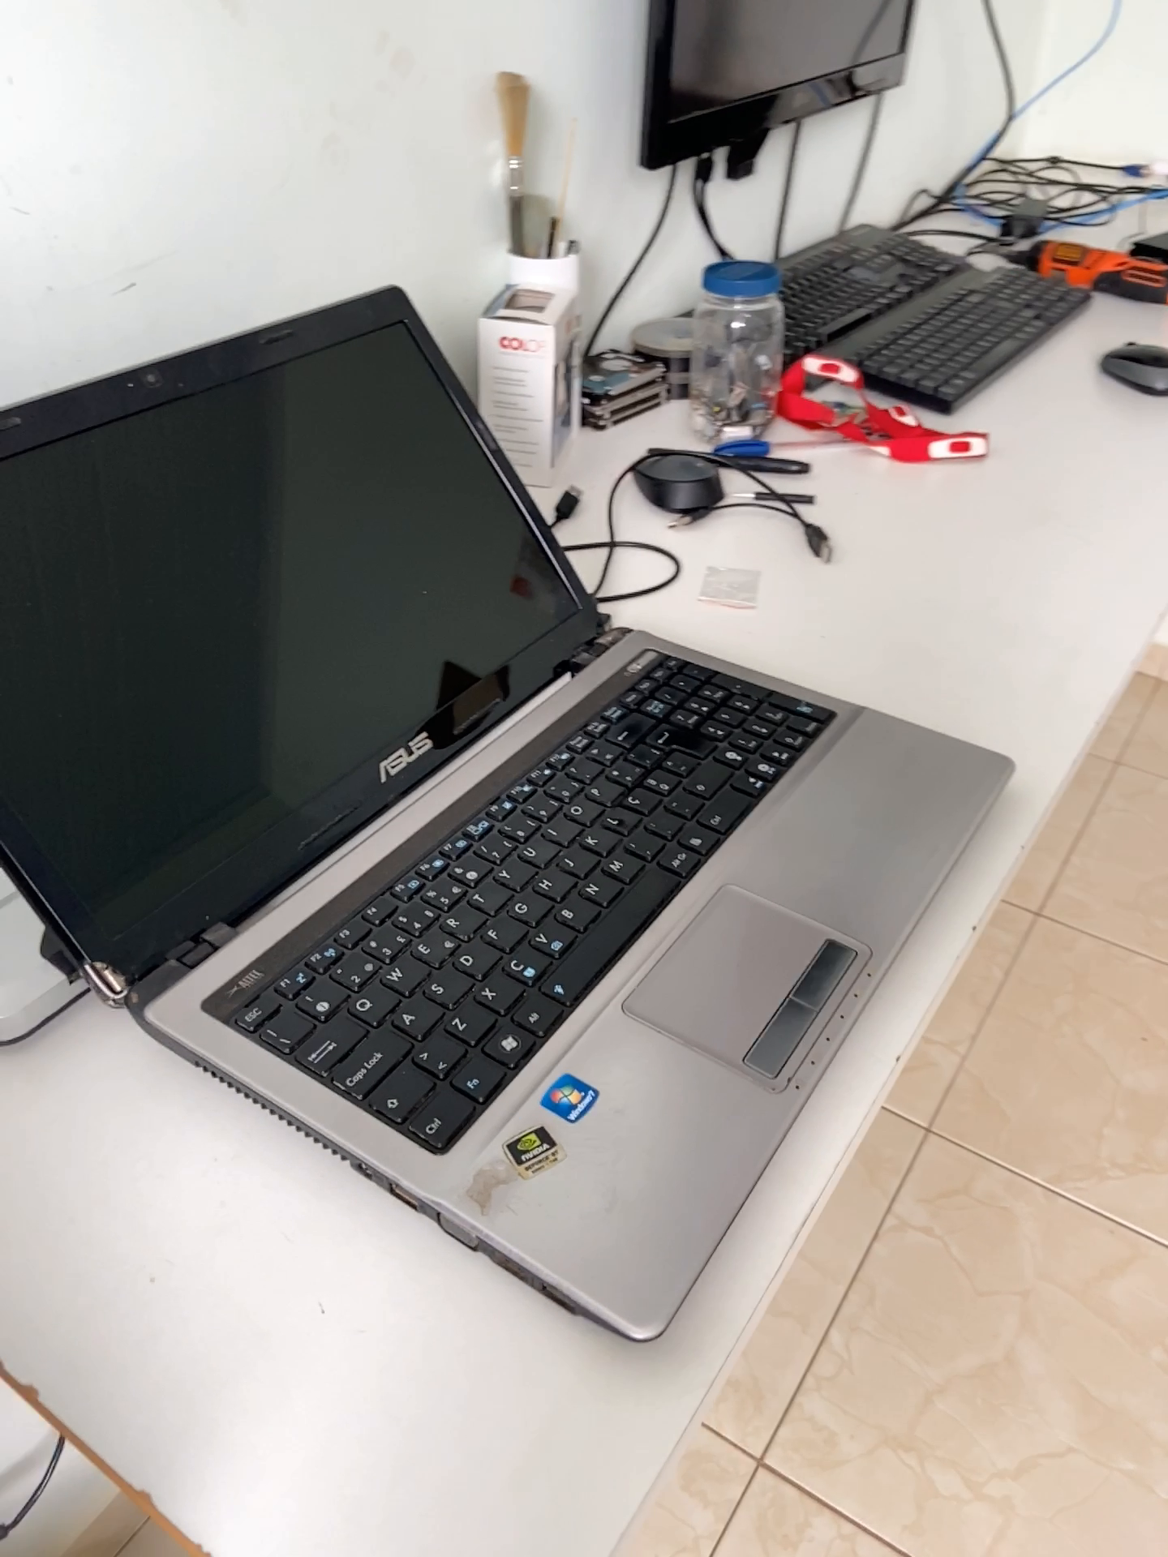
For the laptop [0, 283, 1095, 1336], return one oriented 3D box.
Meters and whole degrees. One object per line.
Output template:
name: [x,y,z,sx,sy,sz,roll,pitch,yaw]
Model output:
laptop: [-0.052,-0.059,0.544,0.415,0.179,0.378,22,41,26]
